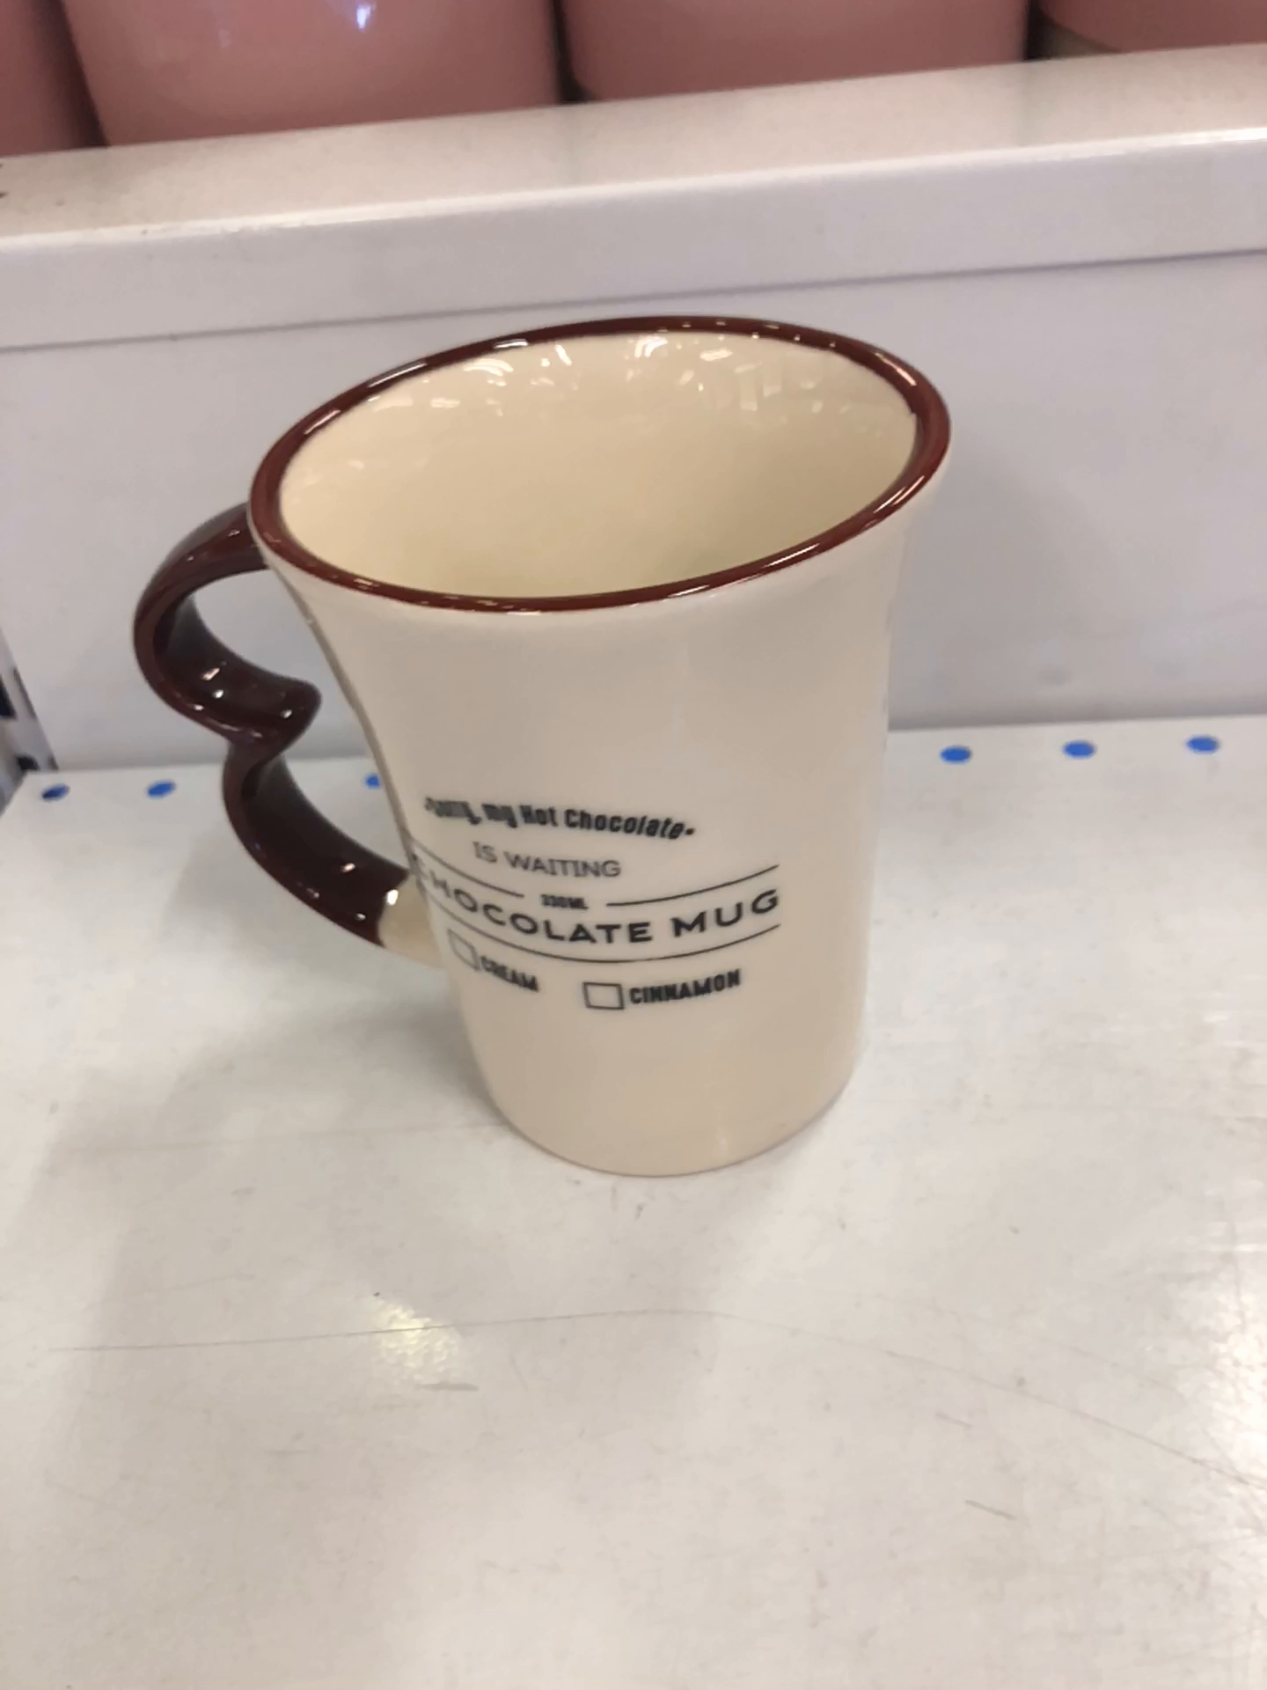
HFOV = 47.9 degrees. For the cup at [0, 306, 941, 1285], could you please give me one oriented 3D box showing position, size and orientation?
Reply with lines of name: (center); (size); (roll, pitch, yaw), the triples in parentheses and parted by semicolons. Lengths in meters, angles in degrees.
cup: (-0.019, -0.008, 0.216); (0.120, 0.109, 0.091); (0, 38, 9)
